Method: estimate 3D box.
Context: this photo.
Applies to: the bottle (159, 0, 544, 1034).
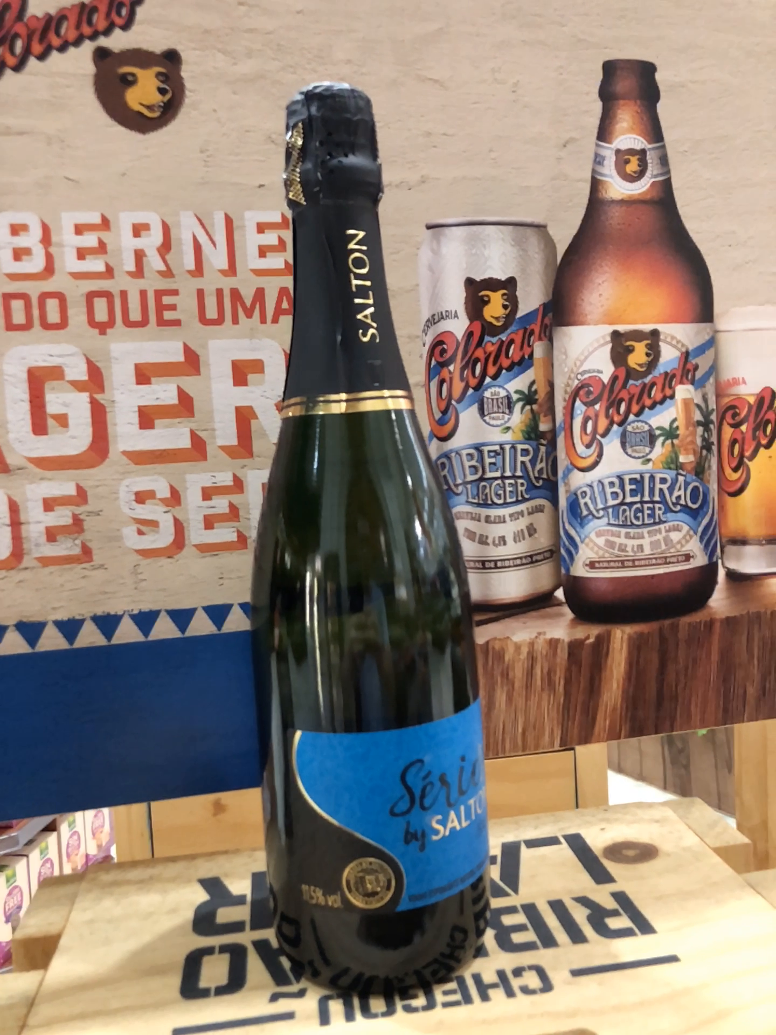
[{"bbox_3d":[-0.012,-0.002,0.309,0.090,0.320,0.080,-6,4,-37],"label":"bottle"}]
